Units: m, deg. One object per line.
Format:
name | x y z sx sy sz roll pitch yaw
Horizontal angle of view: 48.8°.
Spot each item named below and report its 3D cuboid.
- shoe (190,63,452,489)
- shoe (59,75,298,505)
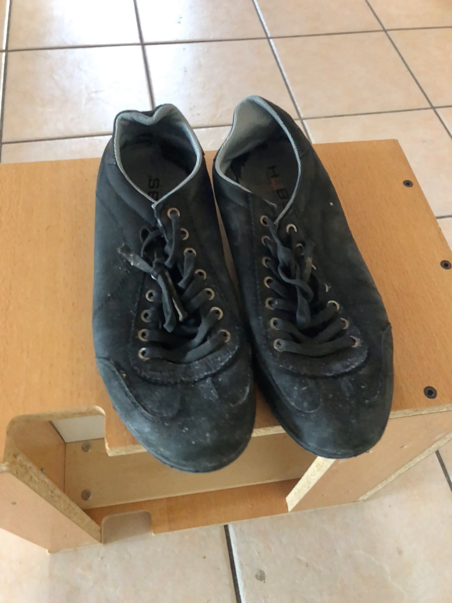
shoe | 0.053 -0.041 0.372 0.110 0.089 0.312 -8 59 -9
shoe | -0.050 -0.029 0.363 0.110 0.089 0.302 -8 59 -9
